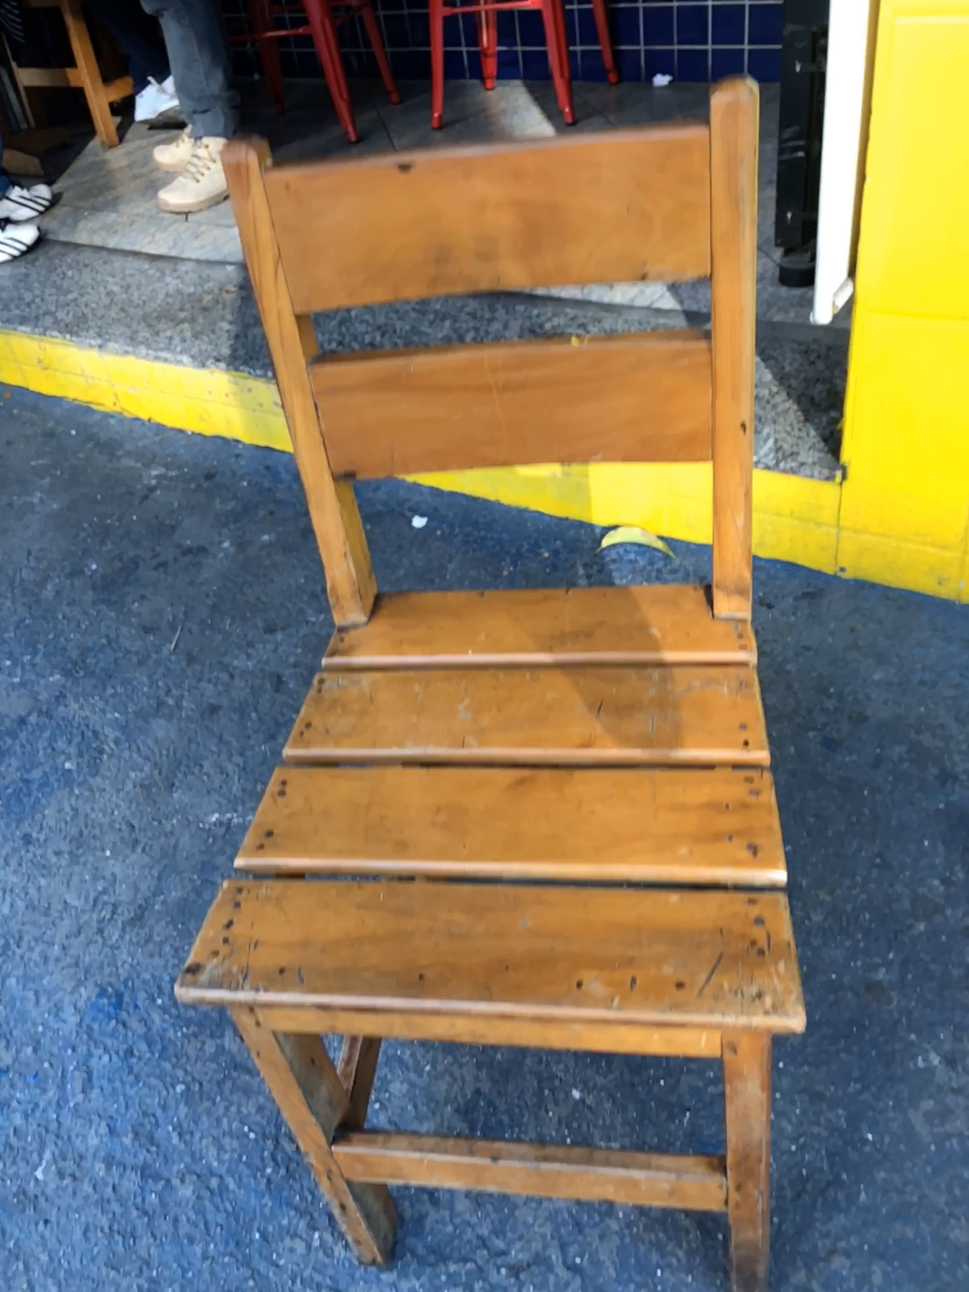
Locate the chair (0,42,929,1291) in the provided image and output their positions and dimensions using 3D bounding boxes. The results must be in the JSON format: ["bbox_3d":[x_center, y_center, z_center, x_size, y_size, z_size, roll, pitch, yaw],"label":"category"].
[{"bbox_3d":[0.024,0.084,0.776,0.400,0.805,0.443,-1,39,11],"label":"chair"}]
